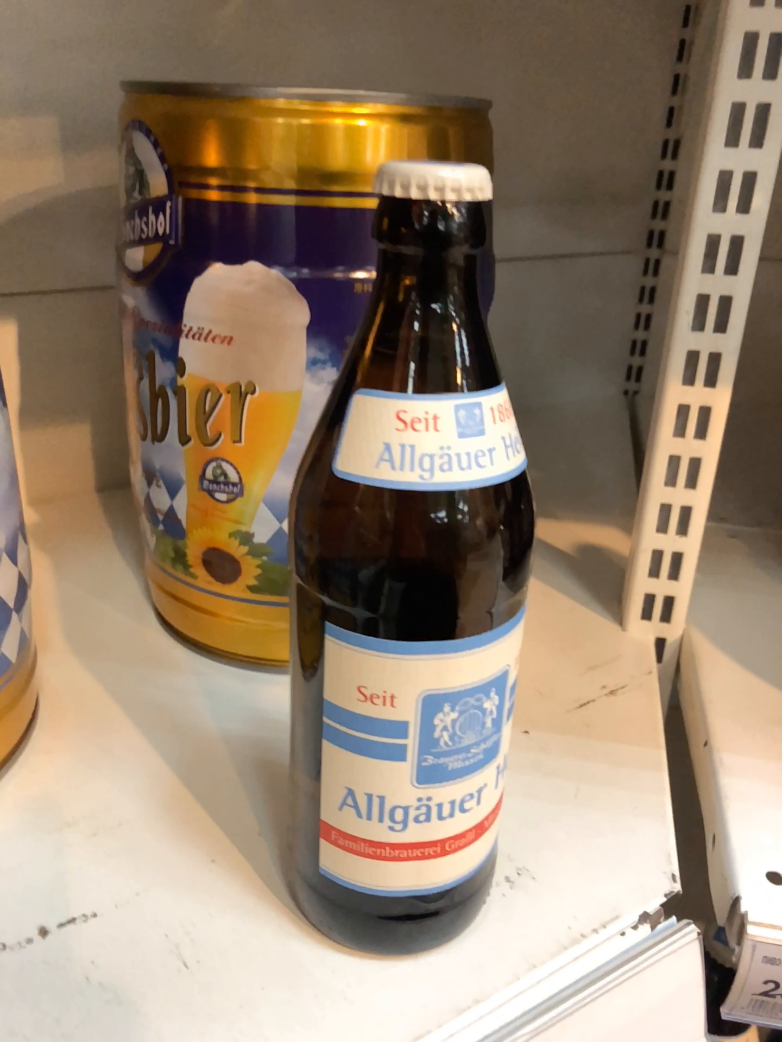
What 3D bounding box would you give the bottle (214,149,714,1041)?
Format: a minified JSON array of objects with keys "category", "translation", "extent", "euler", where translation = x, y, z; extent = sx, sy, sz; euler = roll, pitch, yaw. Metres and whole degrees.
[{"category":"bottle","translation":[0.009,0.019,0.240],"extent":[0.080,0.219,0.080],"euler":[2,25,-1]}]
